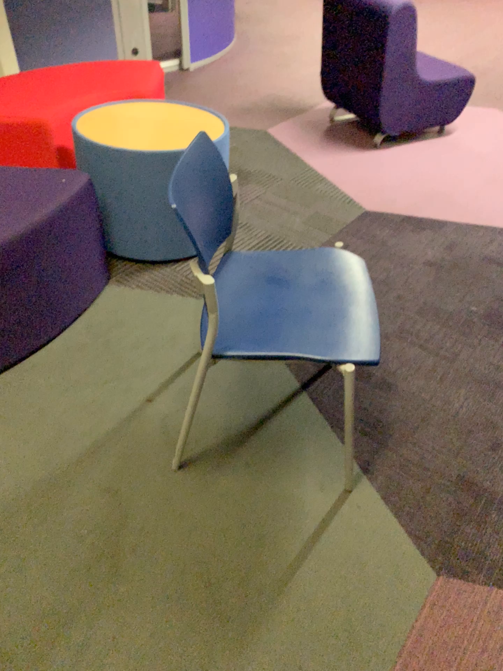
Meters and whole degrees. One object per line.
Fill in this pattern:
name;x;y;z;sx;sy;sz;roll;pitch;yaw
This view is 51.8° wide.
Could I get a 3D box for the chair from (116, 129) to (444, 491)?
chair;0.057;-0.063;1.339;0.570;0.693;0.565;4;42;2
